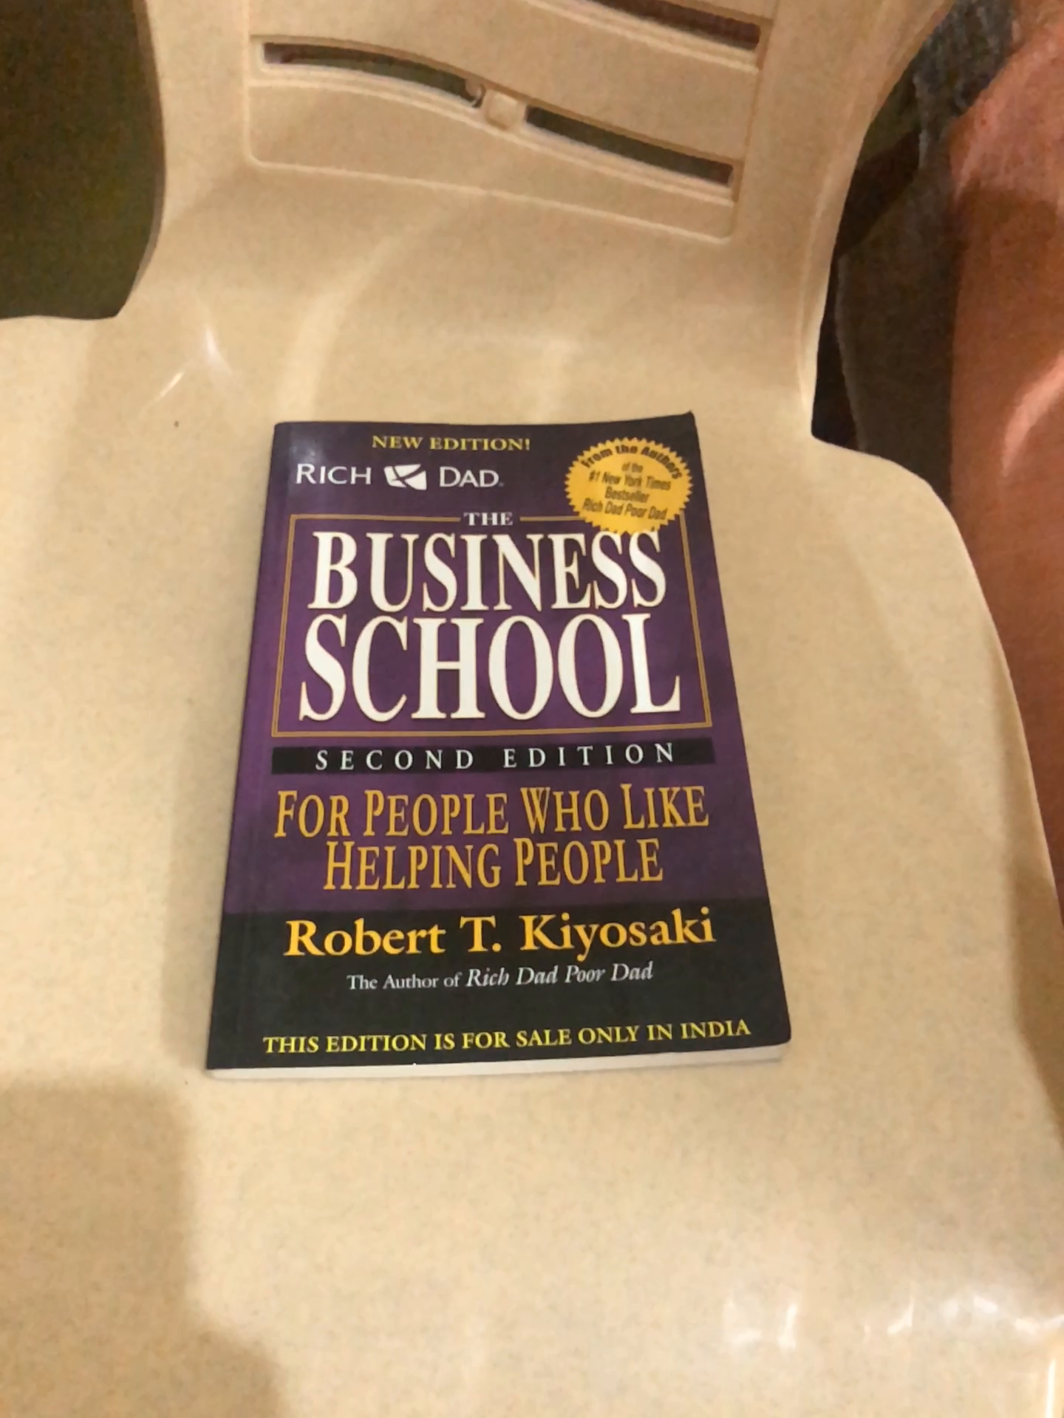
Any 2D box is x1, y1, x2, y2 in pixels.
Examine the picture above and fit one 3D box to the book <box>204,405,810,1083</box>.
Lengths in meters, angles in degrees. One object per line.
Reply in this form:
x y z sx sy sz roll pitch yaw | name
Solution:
-0.011 -0.001 0.389 0.170 0.020 0.230 -1 65 -3 | book
